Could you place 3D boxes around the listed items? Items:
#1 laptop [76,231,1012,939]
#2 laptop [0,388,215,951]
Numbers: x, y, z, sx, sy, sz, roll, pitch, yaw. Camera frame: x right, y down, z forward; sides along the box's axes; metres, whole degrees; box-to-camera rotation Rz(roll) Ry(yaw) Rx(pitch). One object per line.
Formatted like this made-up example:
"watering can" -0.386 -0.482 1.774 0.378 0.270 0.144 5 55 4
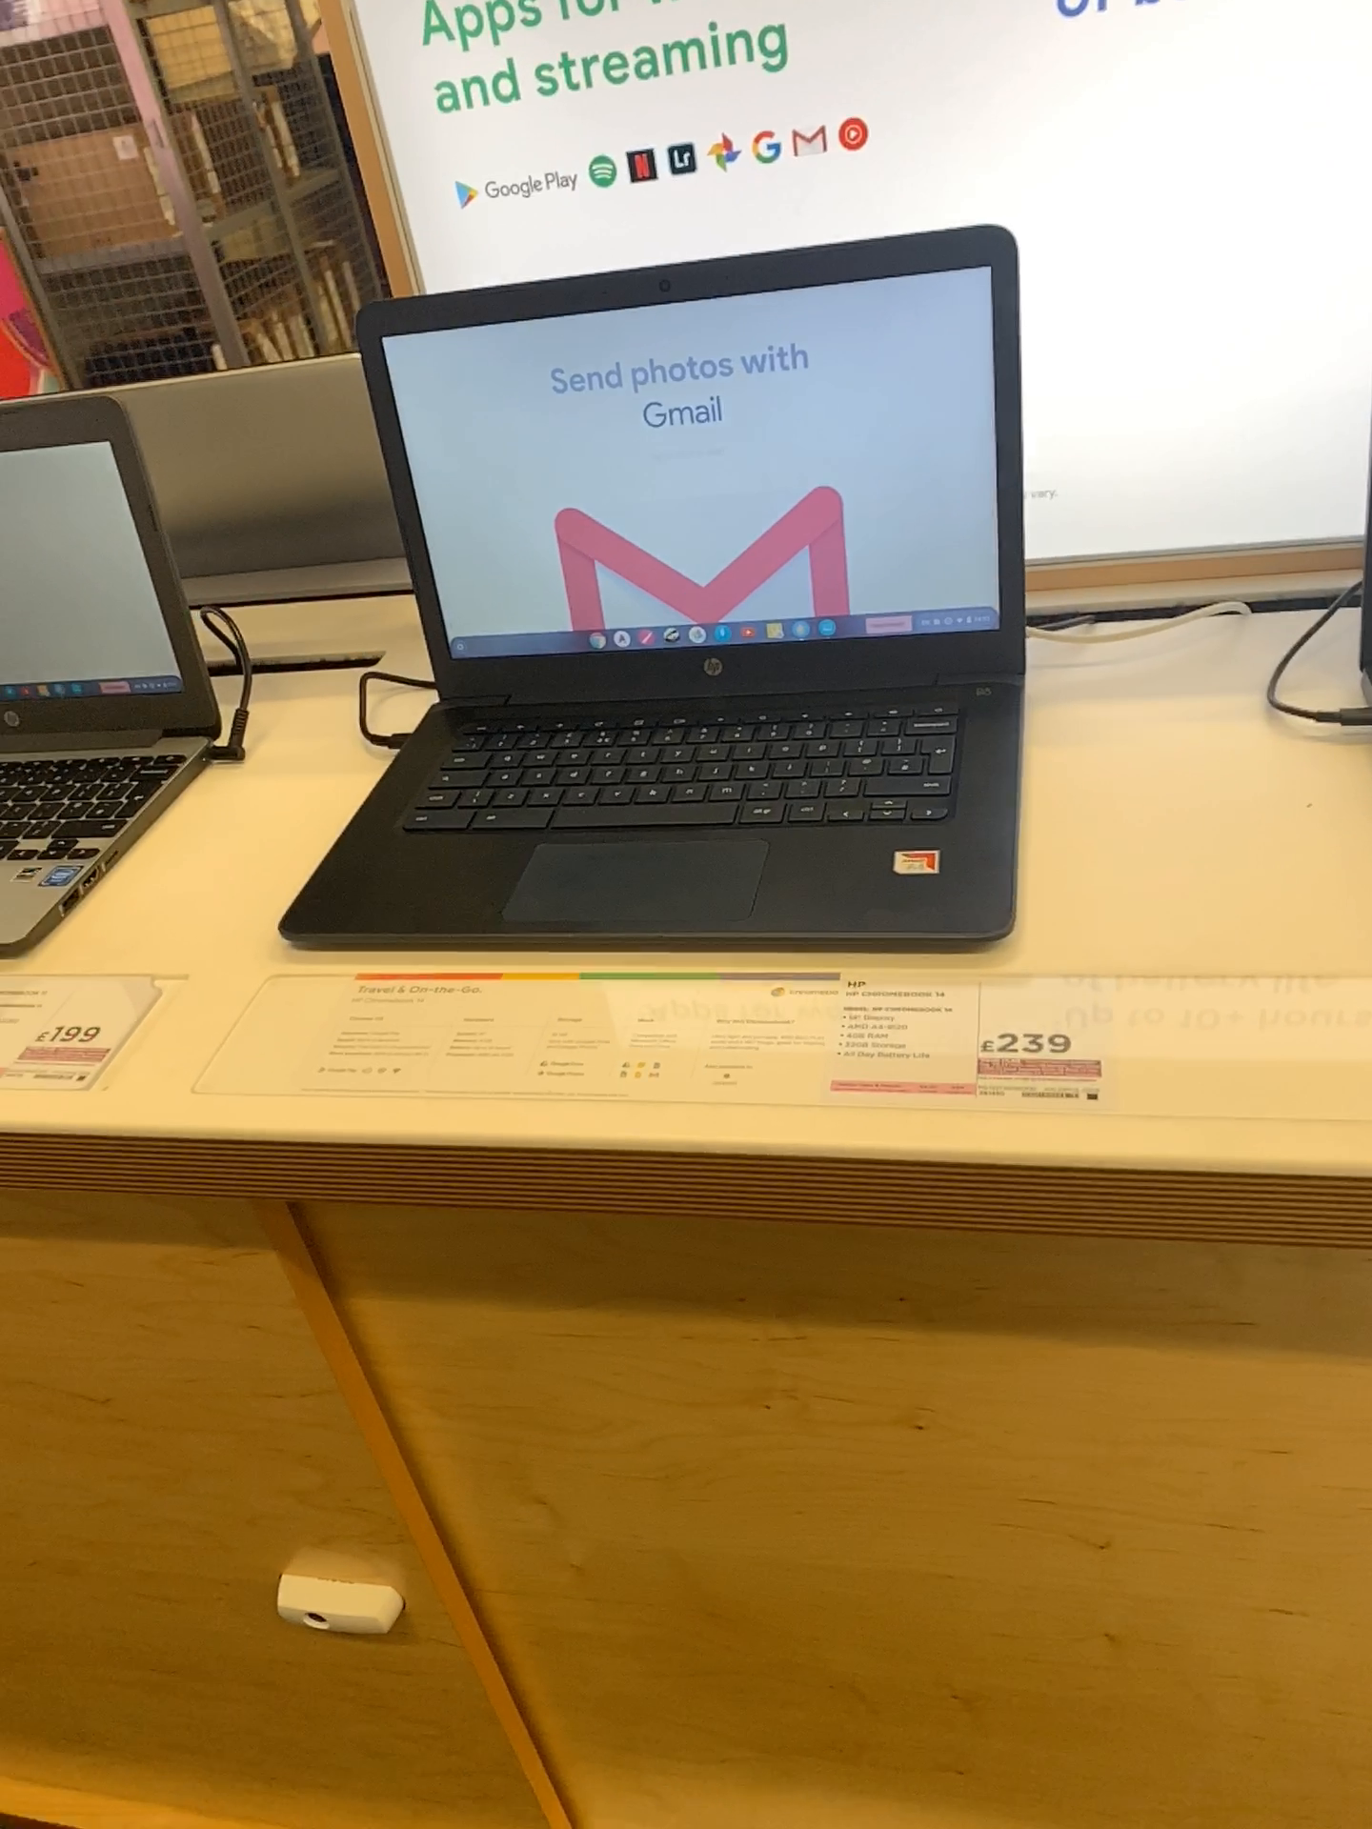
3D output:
"laptop" -0.029 -0.149 0.643 0.331 0.208 0.246 0 36 16
"laptop" -0.454 -0.134 0.743 0.271 0.186 0.243 -1 37 13
